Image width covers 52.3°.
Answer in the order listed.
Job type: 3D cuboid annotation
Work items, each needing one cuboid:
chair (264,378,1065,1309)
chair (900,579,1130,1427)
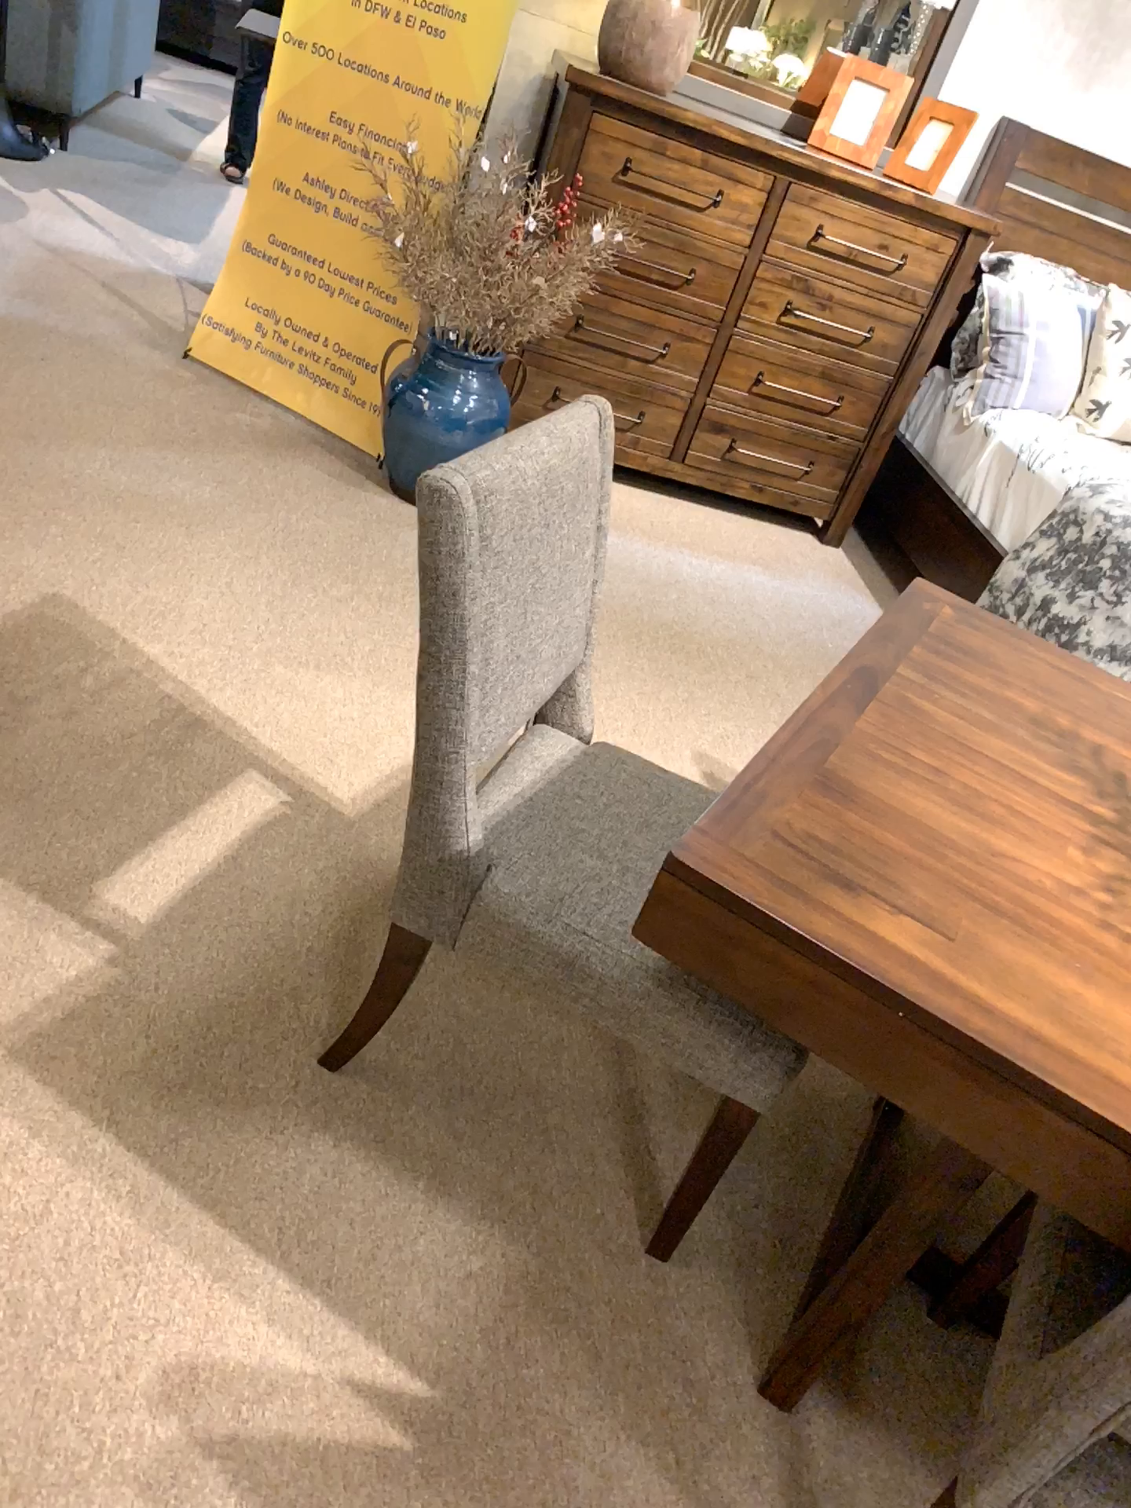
[{"bbox_3d":[0.095,0.106,1.446,0.630,0.863,0.482,26,33,8],"label":"chair"},{"bbox_3d":[0.951,0.320,1.619,0.479,0.863,0.633,30,33,13],"label":"chair"}]
